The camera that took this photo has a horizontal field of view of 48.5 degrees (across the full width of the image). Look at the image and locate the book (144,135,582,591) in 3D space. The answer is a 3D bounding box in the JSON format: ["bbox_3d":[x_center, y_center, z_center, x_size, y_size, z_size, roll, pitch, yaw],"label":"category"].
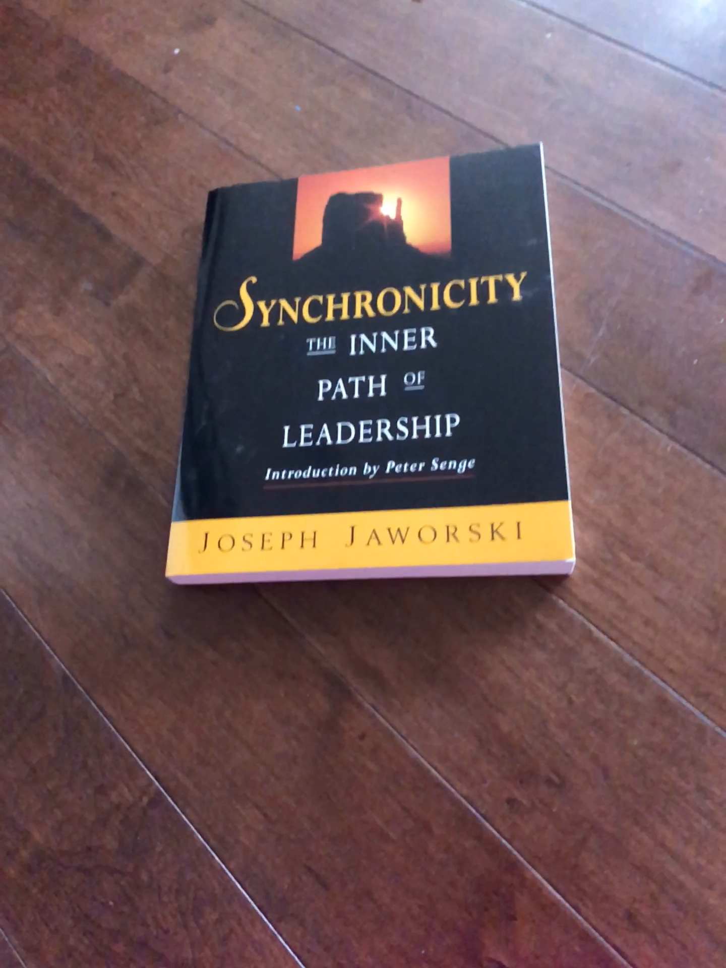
[{"bbox_3d":[0.001,-0.062,0.398,0.190,0.030,0.223,-3,67,12],"label":"book"}]
